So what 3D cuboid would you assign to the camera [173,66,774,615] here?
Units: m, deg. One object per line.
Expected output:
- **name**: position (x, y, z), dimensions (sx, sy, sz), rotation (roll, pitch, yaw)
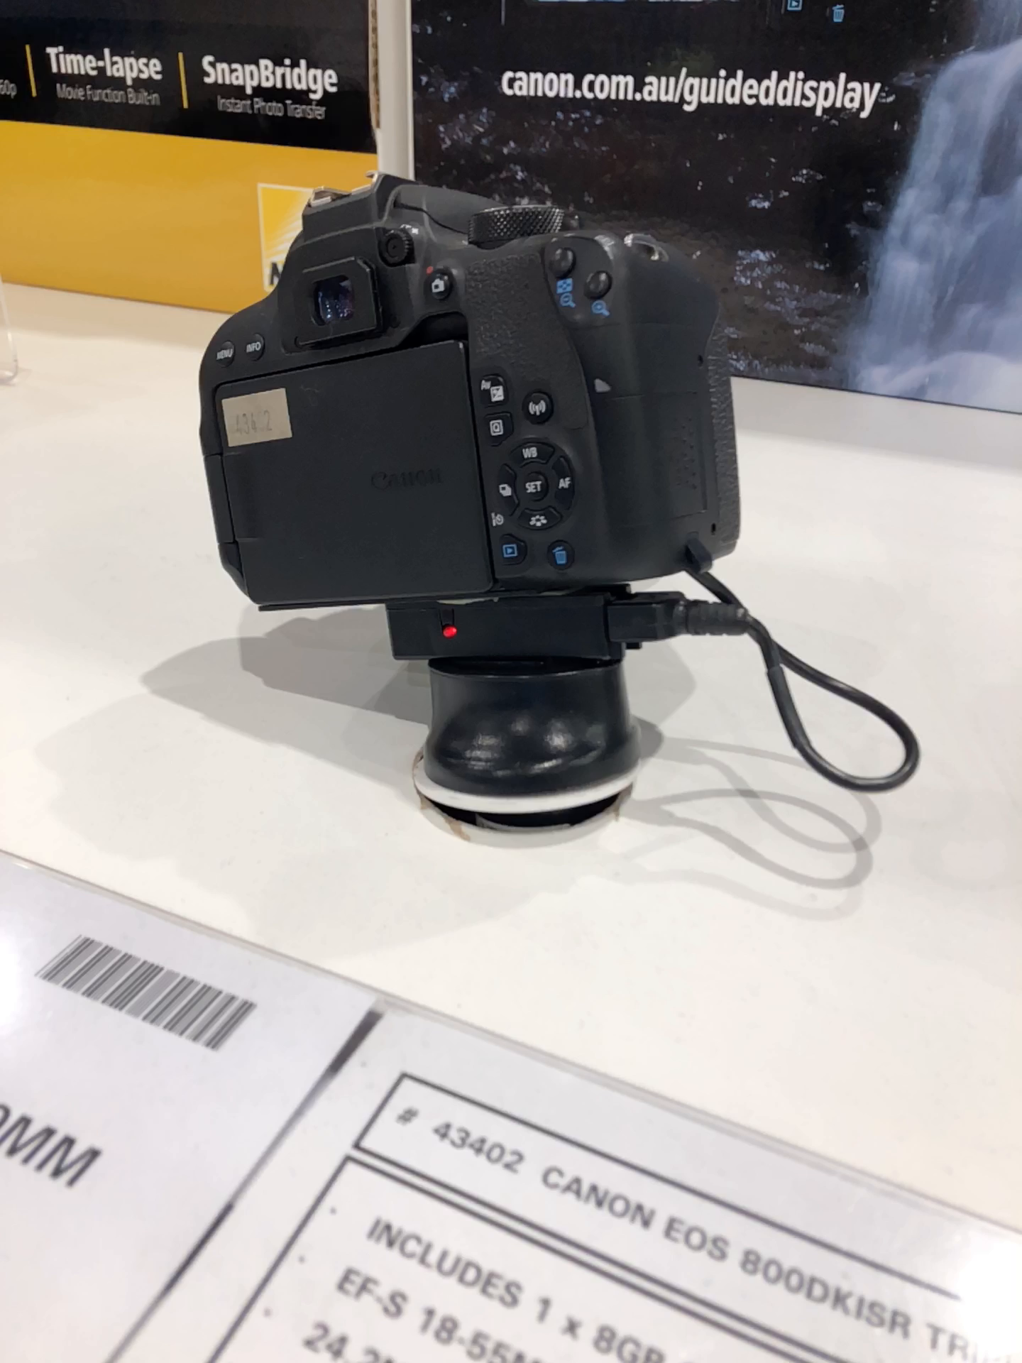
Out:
- **camera**: position (-0.009, -0.078, 0.299), dimensions (0.130, 0.105, 0.070), rotation (-2, 8, 29)
